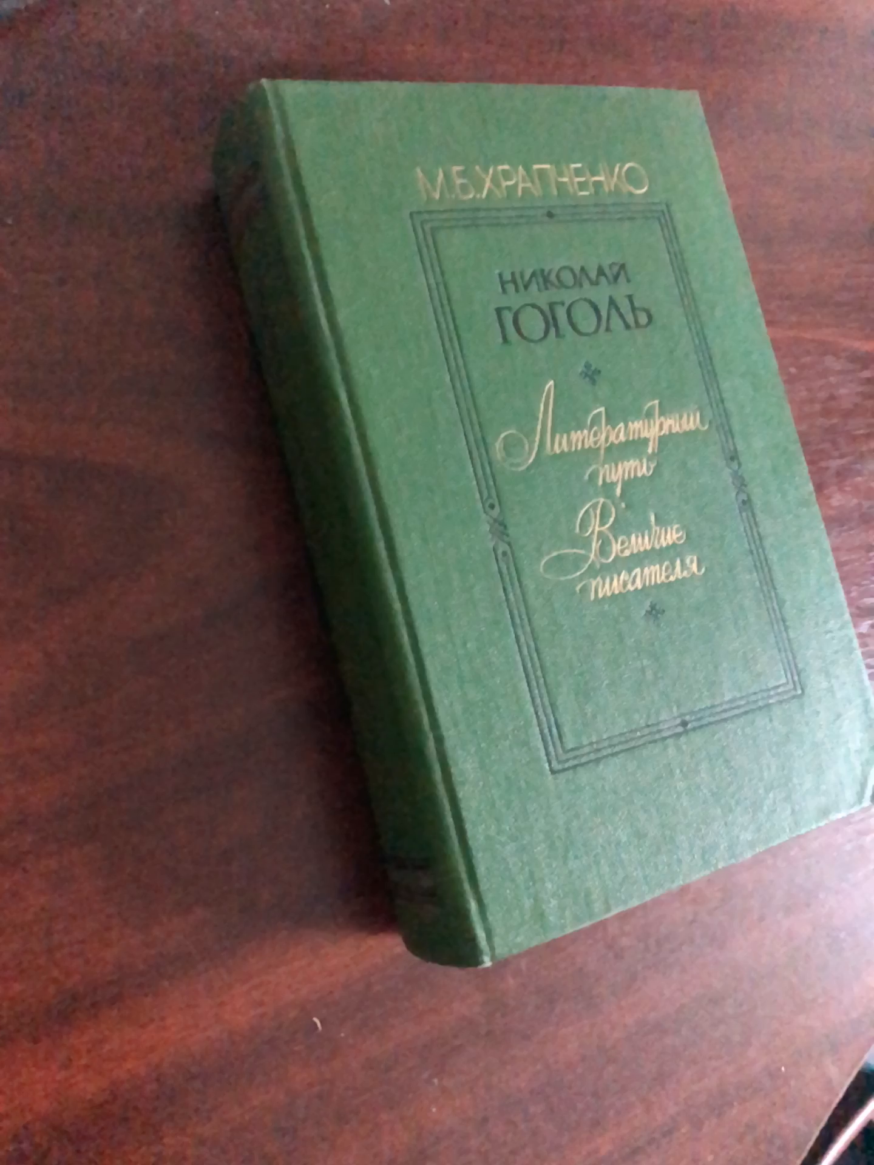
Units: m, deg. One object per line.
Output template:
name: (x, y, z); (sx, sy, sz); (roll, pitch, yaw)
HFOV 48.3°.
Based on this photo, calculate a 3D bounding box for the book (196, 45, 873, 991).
book: (0.030, -0.026, 0.253); (0.130, 0.050, 0.206); (-13, 85, -25)
